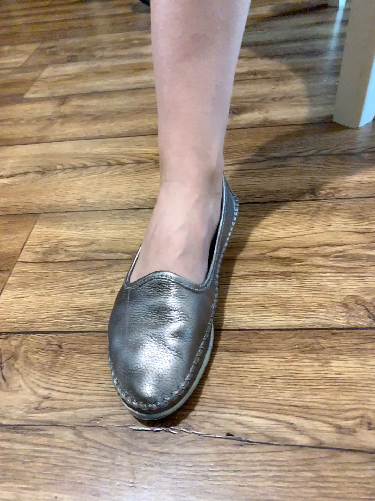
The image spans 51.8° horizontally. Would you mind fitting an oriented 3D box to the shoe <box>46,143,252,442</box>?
[{"bbox_3d":[-0.011,0.017,0.320,0.095,0.070,0.231,6,56,15],"label":"shoe"}]
